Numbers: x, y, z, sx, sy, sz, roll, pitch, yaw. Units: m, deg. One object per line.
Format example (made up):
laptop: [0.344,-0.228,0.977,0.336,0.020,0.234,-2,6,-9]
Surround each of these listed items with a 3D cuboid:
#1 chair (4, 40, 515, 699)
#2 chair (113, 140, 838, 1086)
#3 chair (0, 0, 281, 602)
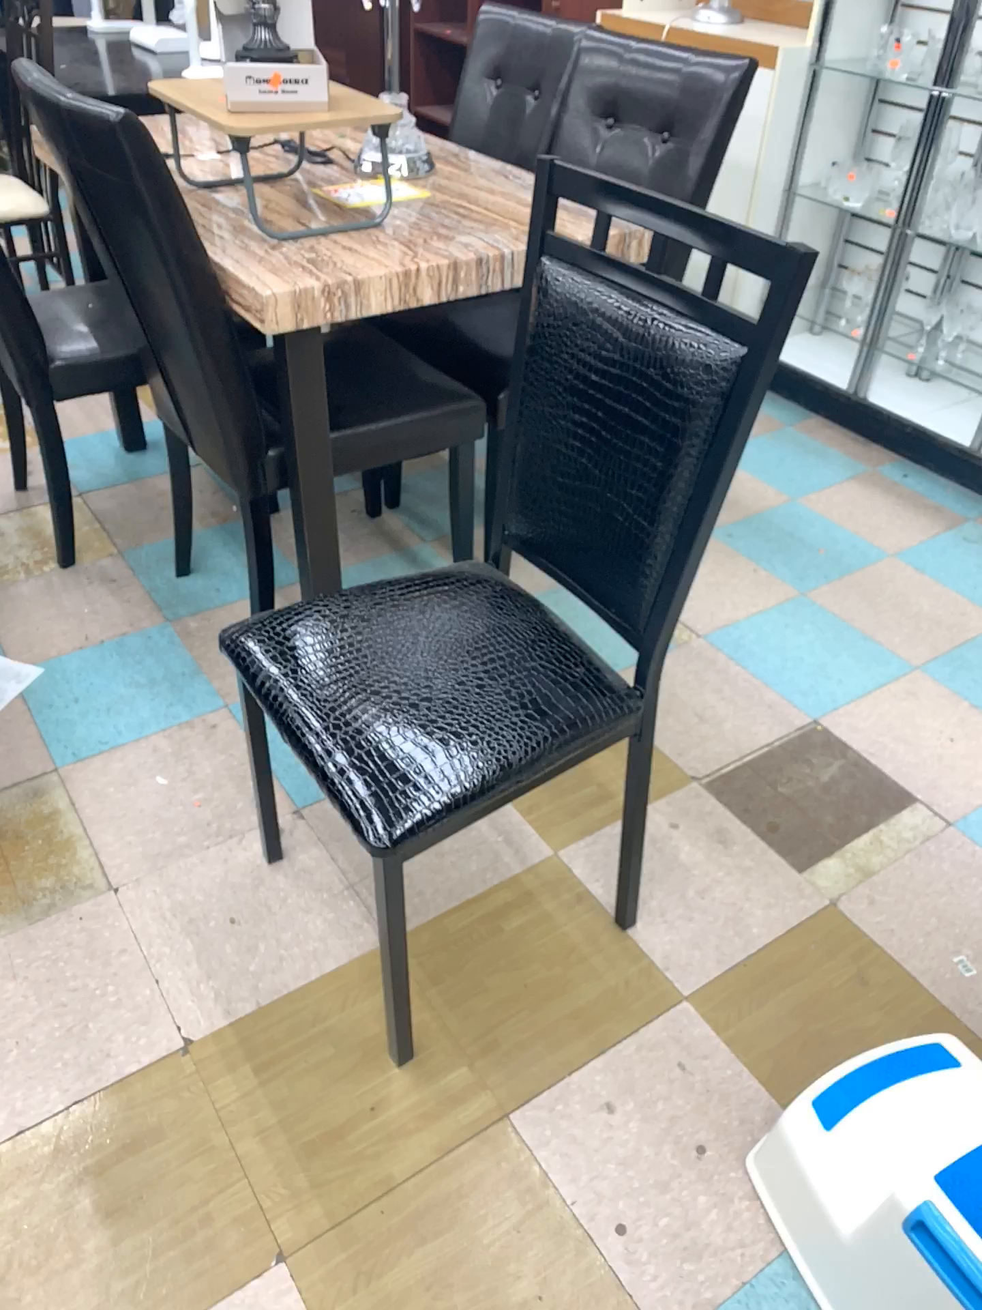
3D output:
chair: [-0.370,-0.525,1.816,0.595,0.923,0.533,-24,45,-28]
chair: [-0.039,-0.036,1.220,0.505,0.943,0.463,-21,44,-26]
chair: [-0.959,-0.803,2.221,0.676,1.072,0.563,-24,45,-28]
